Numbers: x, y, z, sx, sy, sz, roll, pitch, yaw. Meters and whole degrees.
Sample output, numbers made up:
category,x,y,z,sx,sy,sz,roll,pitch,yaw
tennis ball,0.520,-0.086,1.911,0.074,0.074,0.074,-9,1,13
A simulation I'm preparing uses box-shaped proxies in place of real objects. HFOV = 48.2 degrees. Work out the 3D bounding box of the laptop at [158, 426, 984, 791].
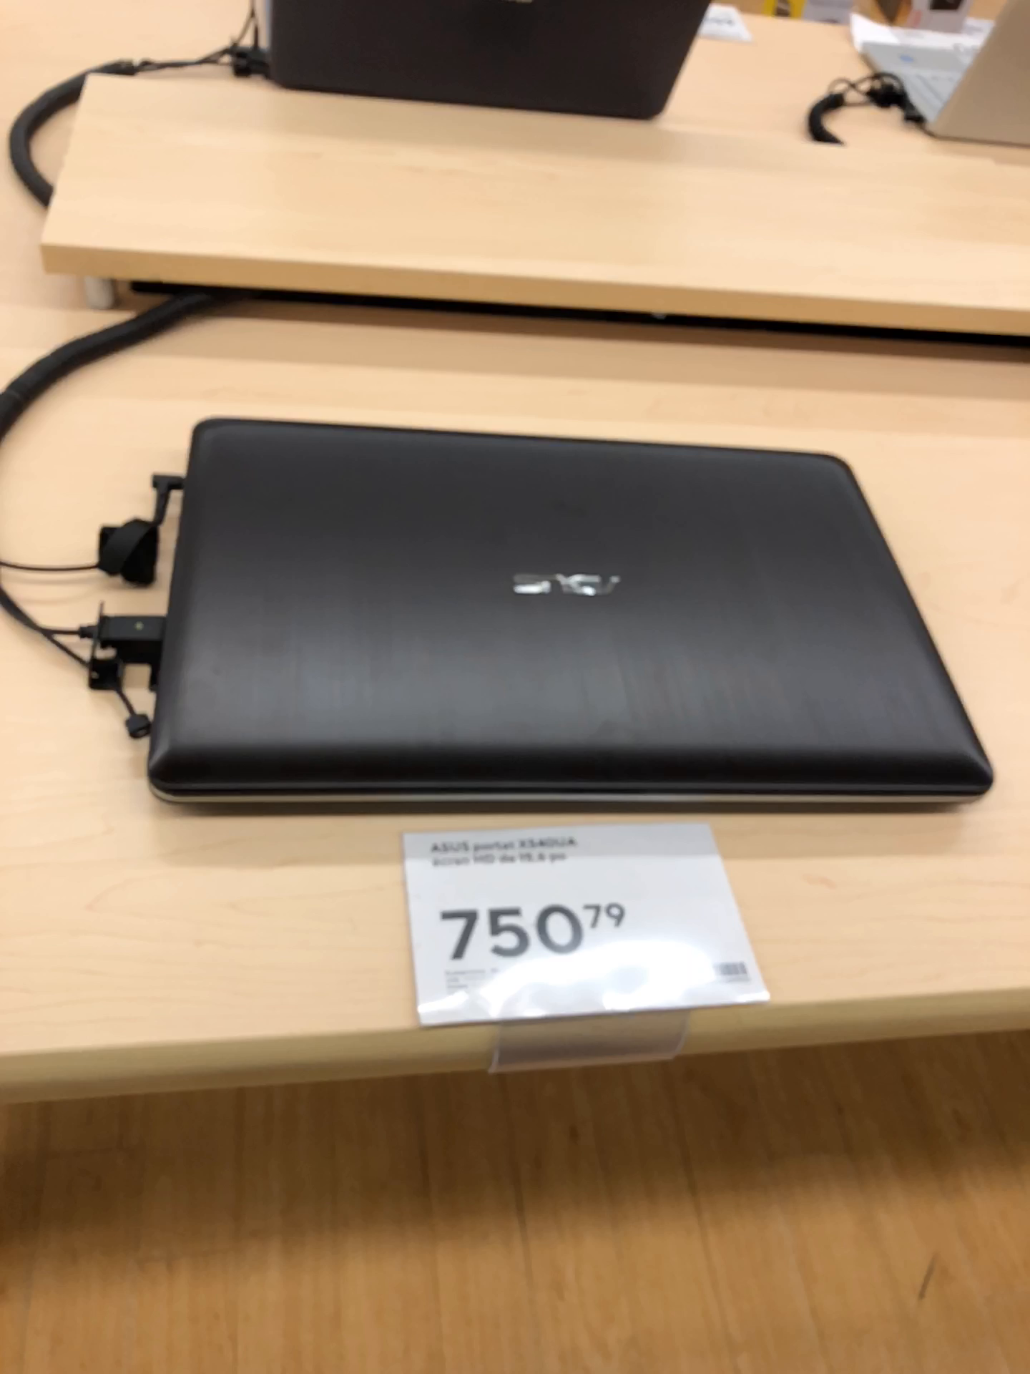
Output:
category,x,y,z,sx,sy,sz,roll,pitch,yaw
laptop,0.026,-0.045,0.577,0.369,0.010,0.228,1,50,-11
